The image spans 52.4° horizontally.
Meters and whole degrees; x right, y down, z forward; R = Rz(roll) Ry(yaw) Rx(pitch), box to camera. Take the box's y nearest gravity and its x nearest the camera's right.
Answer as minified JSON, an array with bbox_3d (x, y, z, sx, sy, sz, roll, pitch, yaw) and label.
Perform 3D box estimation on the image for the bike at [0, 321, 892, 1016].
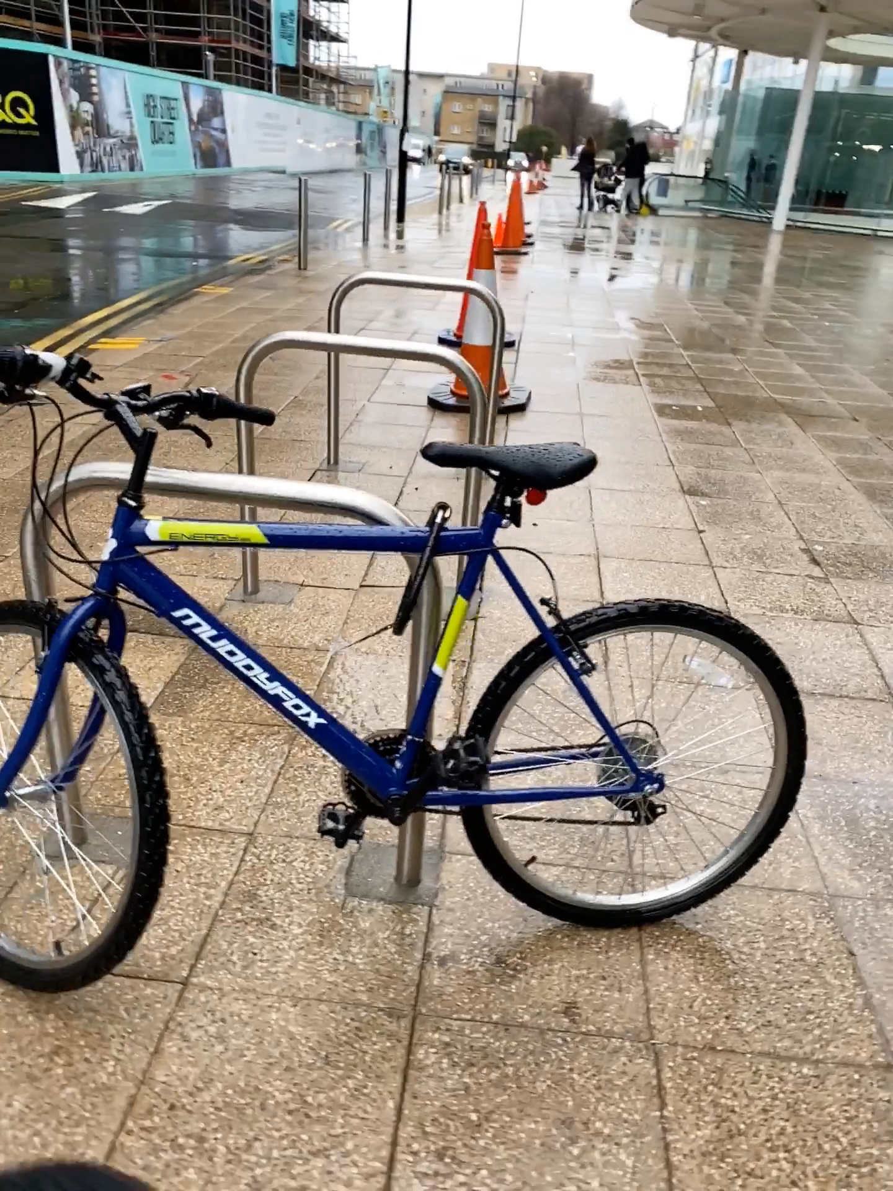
[{"bbox_3d":[-0.146,0.107,1.571,1.592,1.013,0.601,1,26,-1],"label":"bike"}]
